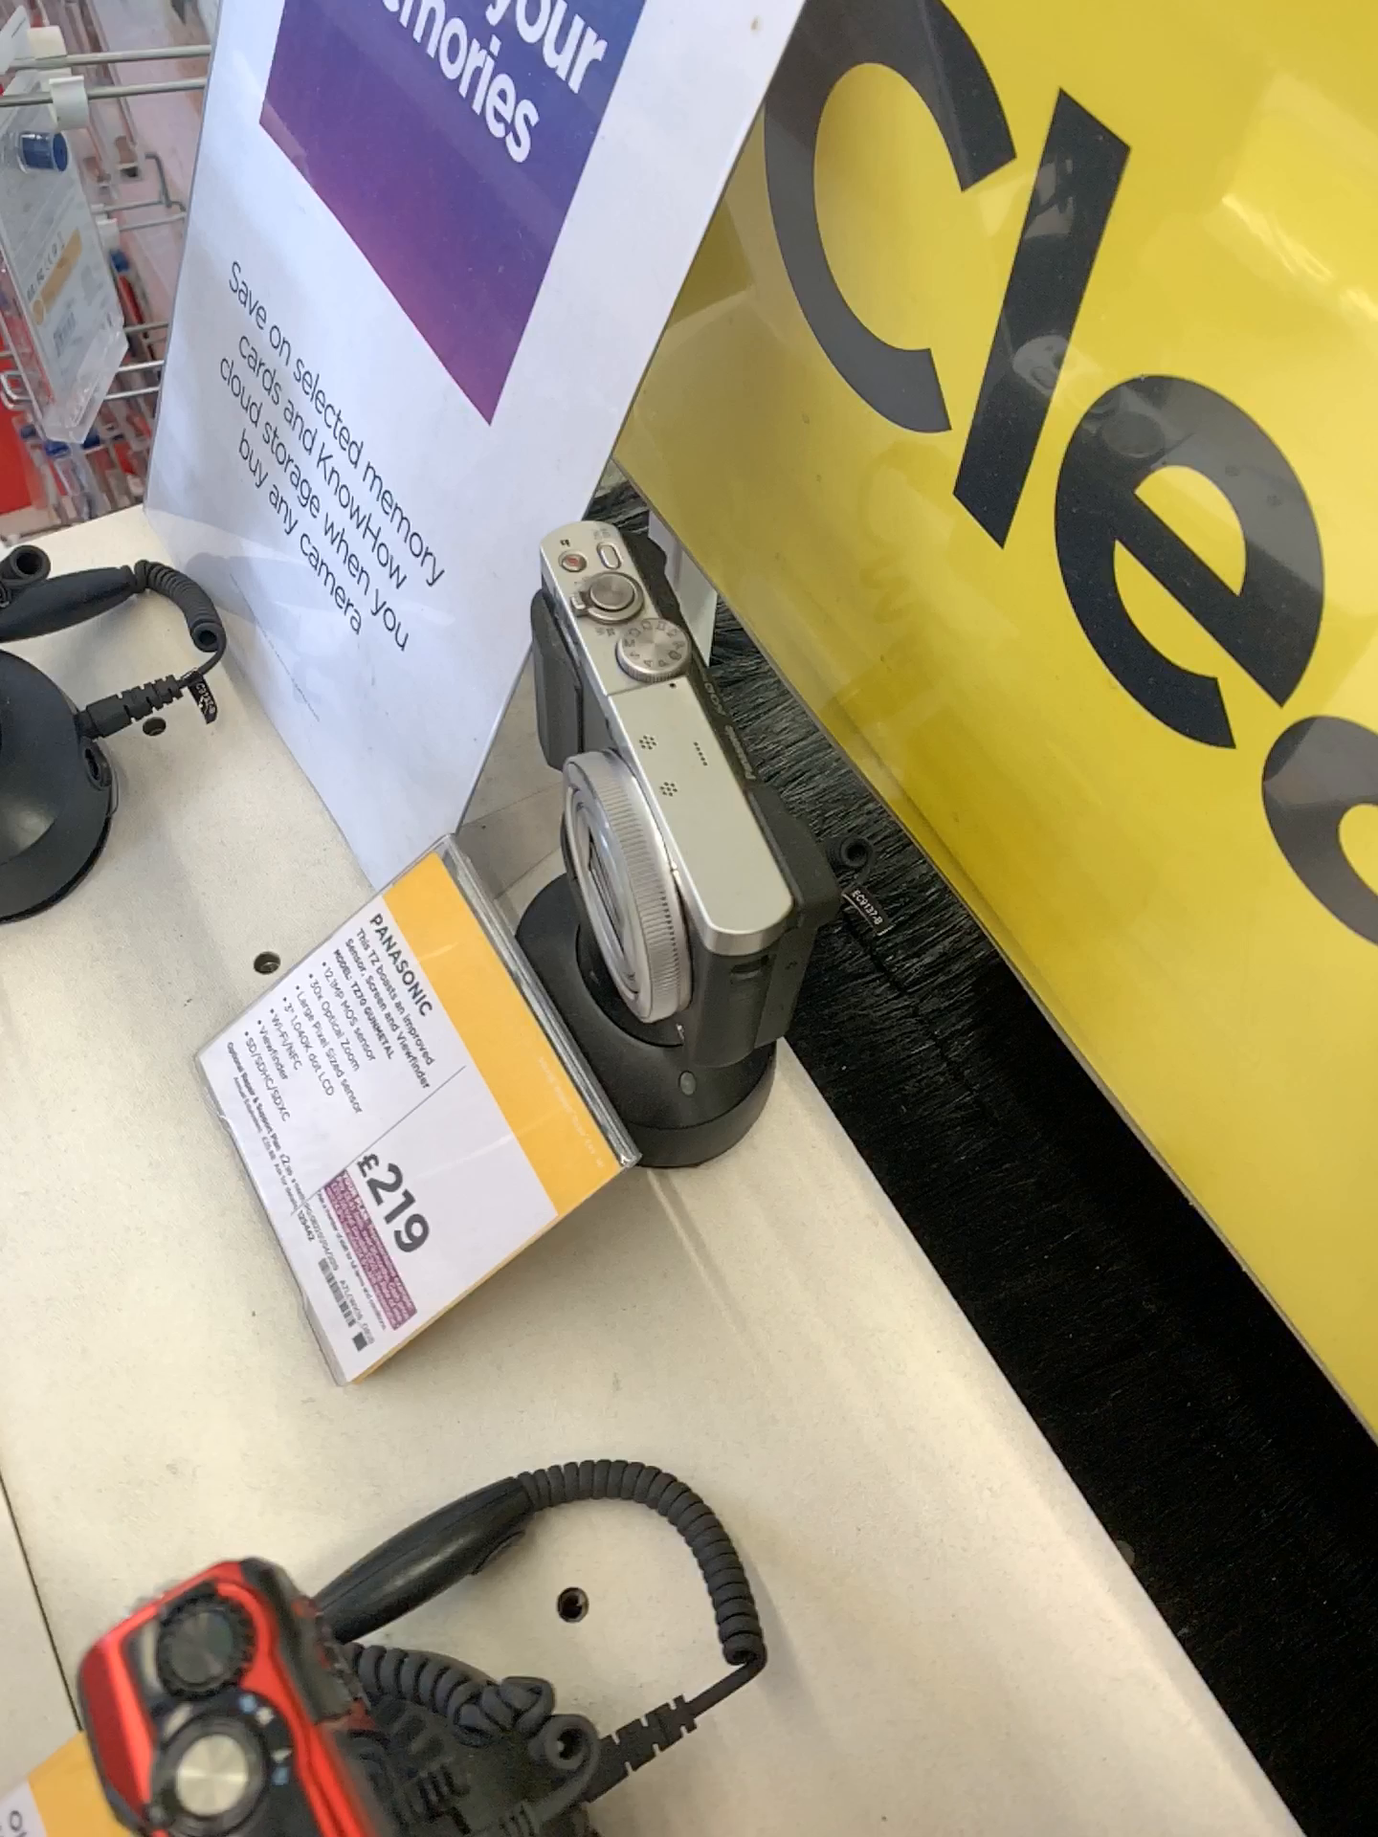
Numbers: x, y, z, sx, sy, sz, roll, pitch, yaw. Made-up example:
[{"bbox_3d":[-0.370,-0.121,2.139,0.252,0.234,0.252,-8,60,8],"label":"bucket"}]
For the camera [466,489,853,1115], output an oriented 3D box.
[{"bbox_3d":[-0.010,-0.025,0.308,0.040,0.070,0.111,-17,62,-13],"label":"camera"}]
